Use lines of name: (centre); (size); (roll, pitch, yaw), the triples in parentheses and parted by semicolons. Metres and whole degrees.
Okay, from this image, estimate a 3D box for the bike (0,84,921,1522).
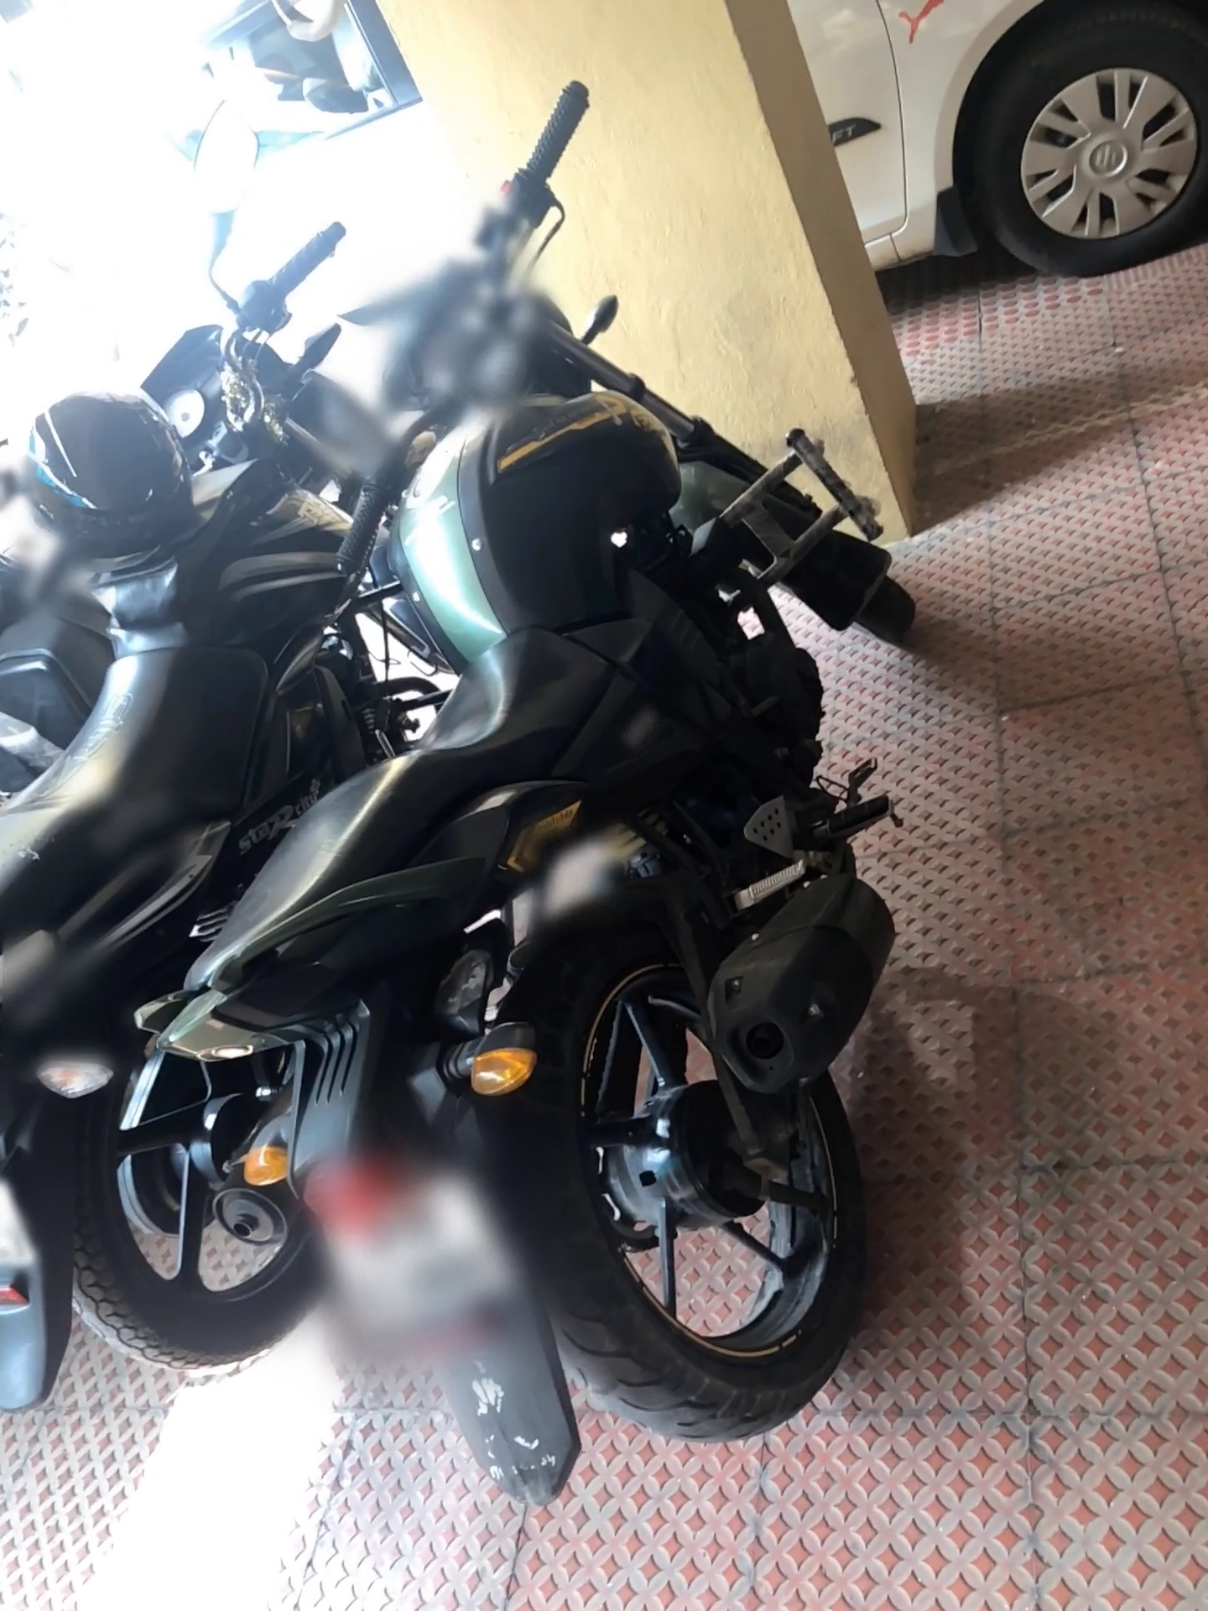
bike: (-0.135, -0.142, 1.891); (0.739, 1.090, 1.816); (-16, 35, 20)
